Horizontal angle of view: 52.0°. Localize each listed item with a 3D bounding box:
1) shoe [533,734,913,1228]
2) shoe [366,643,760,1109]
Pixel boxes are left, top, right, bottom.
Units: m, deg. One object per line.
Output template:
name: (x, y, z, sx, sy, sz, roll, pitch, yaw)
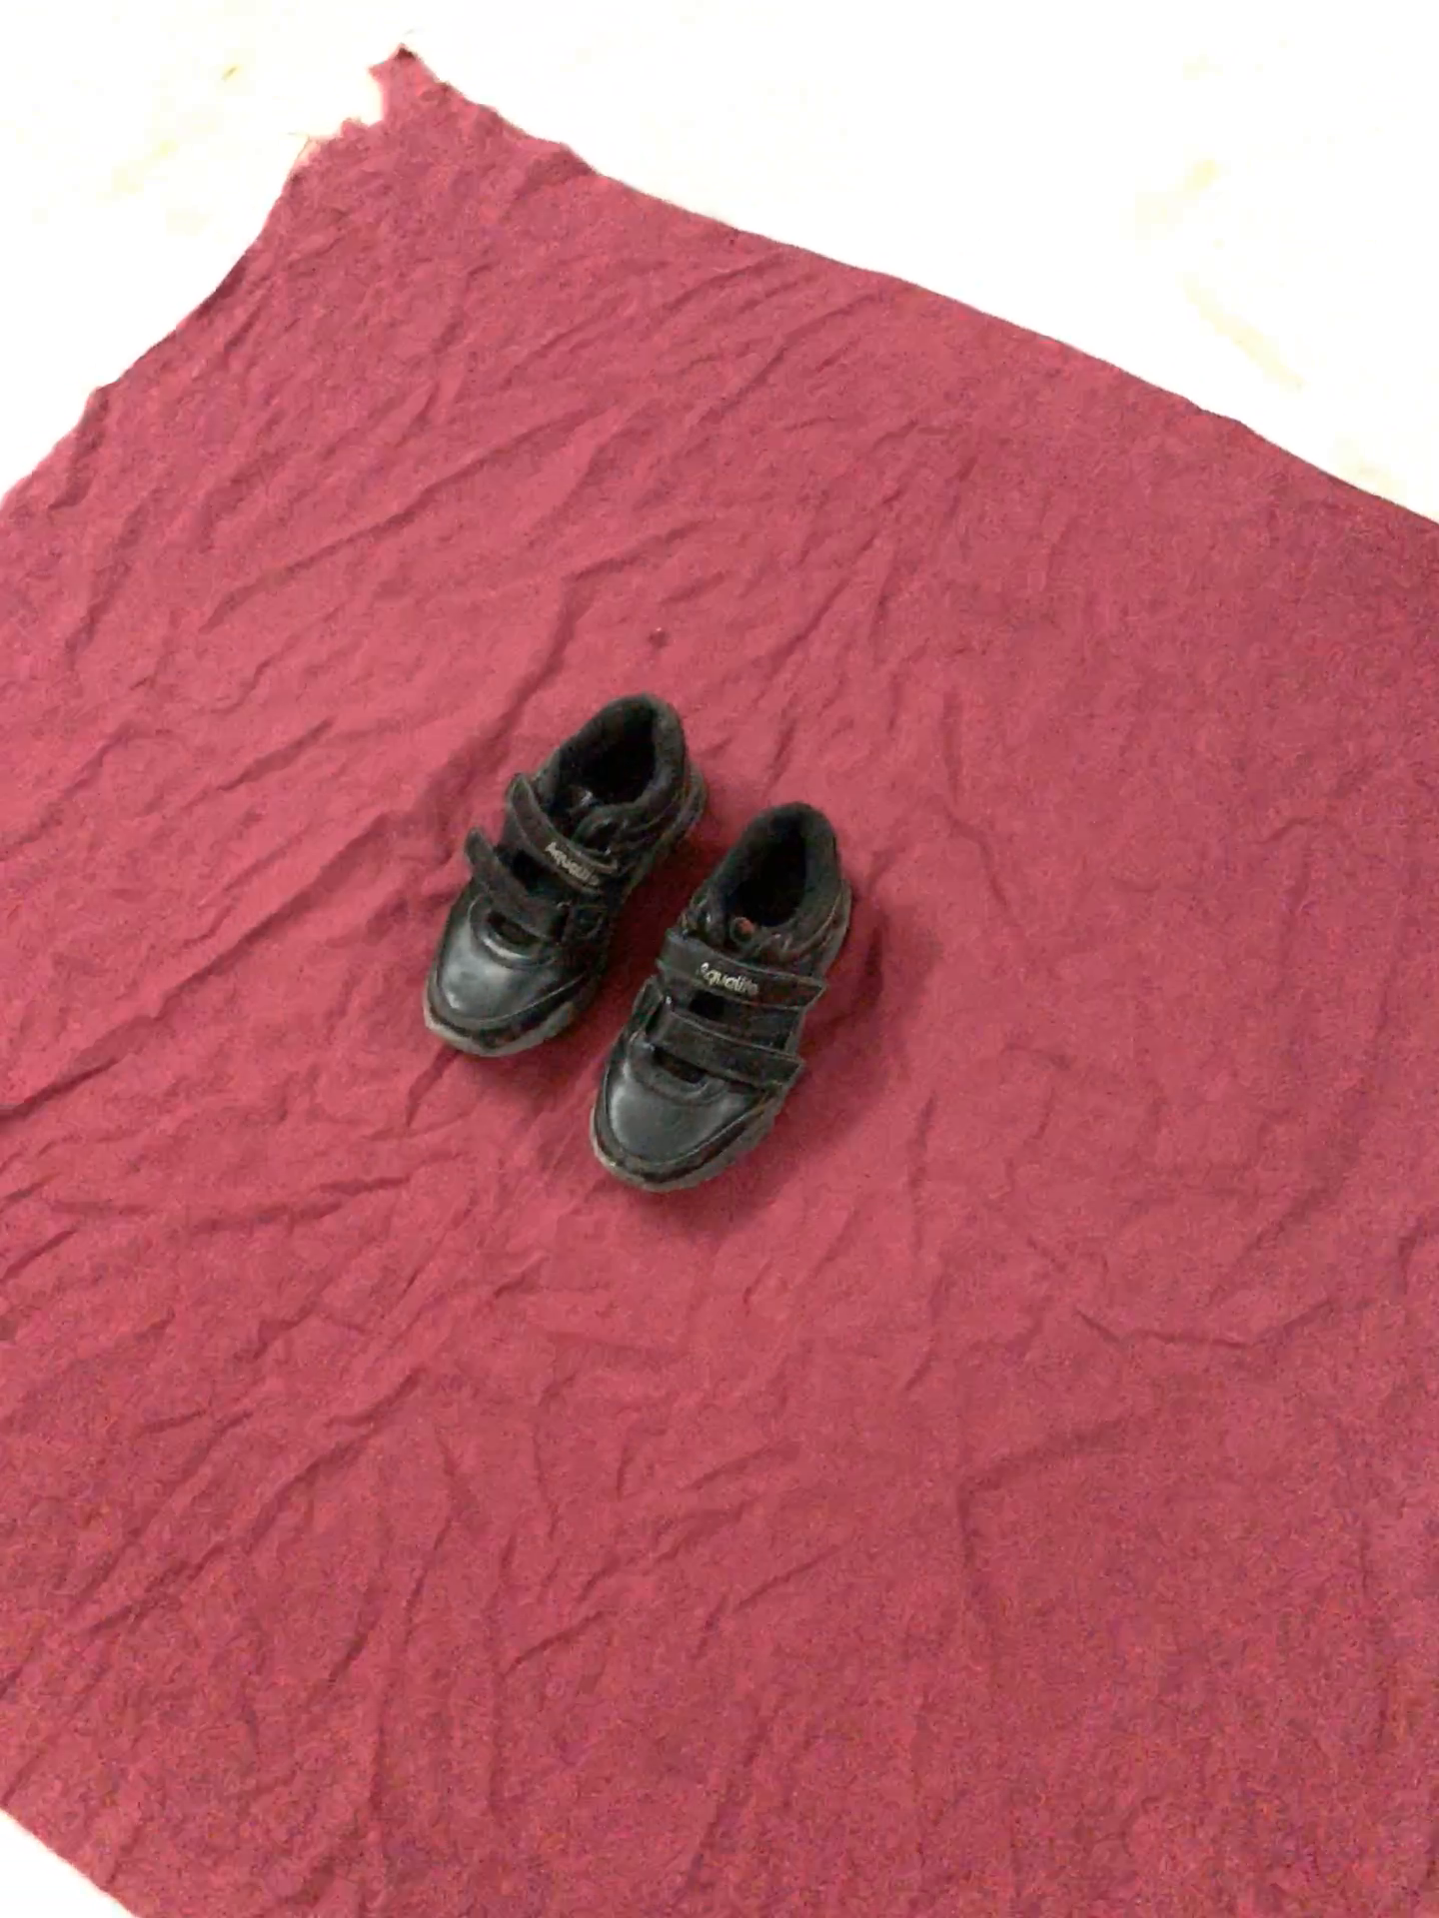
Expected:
shoe: (0.006, 0.009, 0.681, 0.070, 0.070, 0.210, 28, 73, 13)
shoe: (-0.068, -0.041, 0.712, 0.070, 0.070, 0.210, 32, 74, 14)
